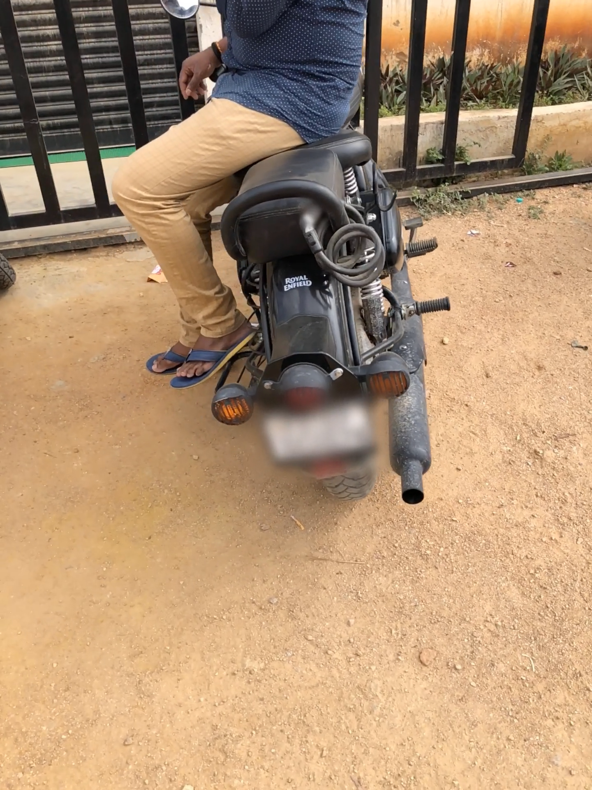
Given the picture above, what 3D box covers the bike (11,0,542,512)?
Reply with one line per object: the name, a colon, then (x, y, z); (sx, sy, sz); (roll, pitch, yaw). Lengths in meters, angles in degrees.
bike: (-0.152, -0.819, 1.881); (0.723, 1.169, 1.815); (-6, 40, -5)
